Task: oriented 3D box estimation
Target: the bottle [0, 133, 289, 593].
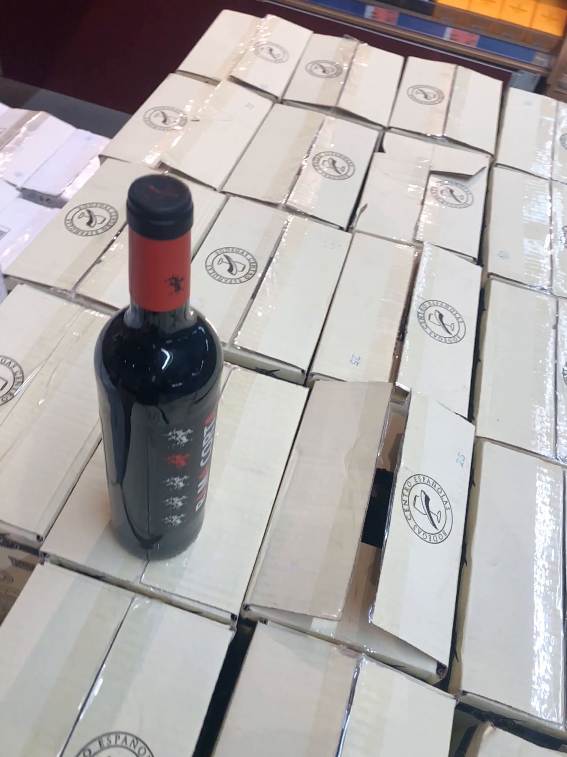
[{"bbox_3d":[-0.083,0.020,0.385,0.090,0.298,0.090,5,53,-7],"label":"bottle"}]
